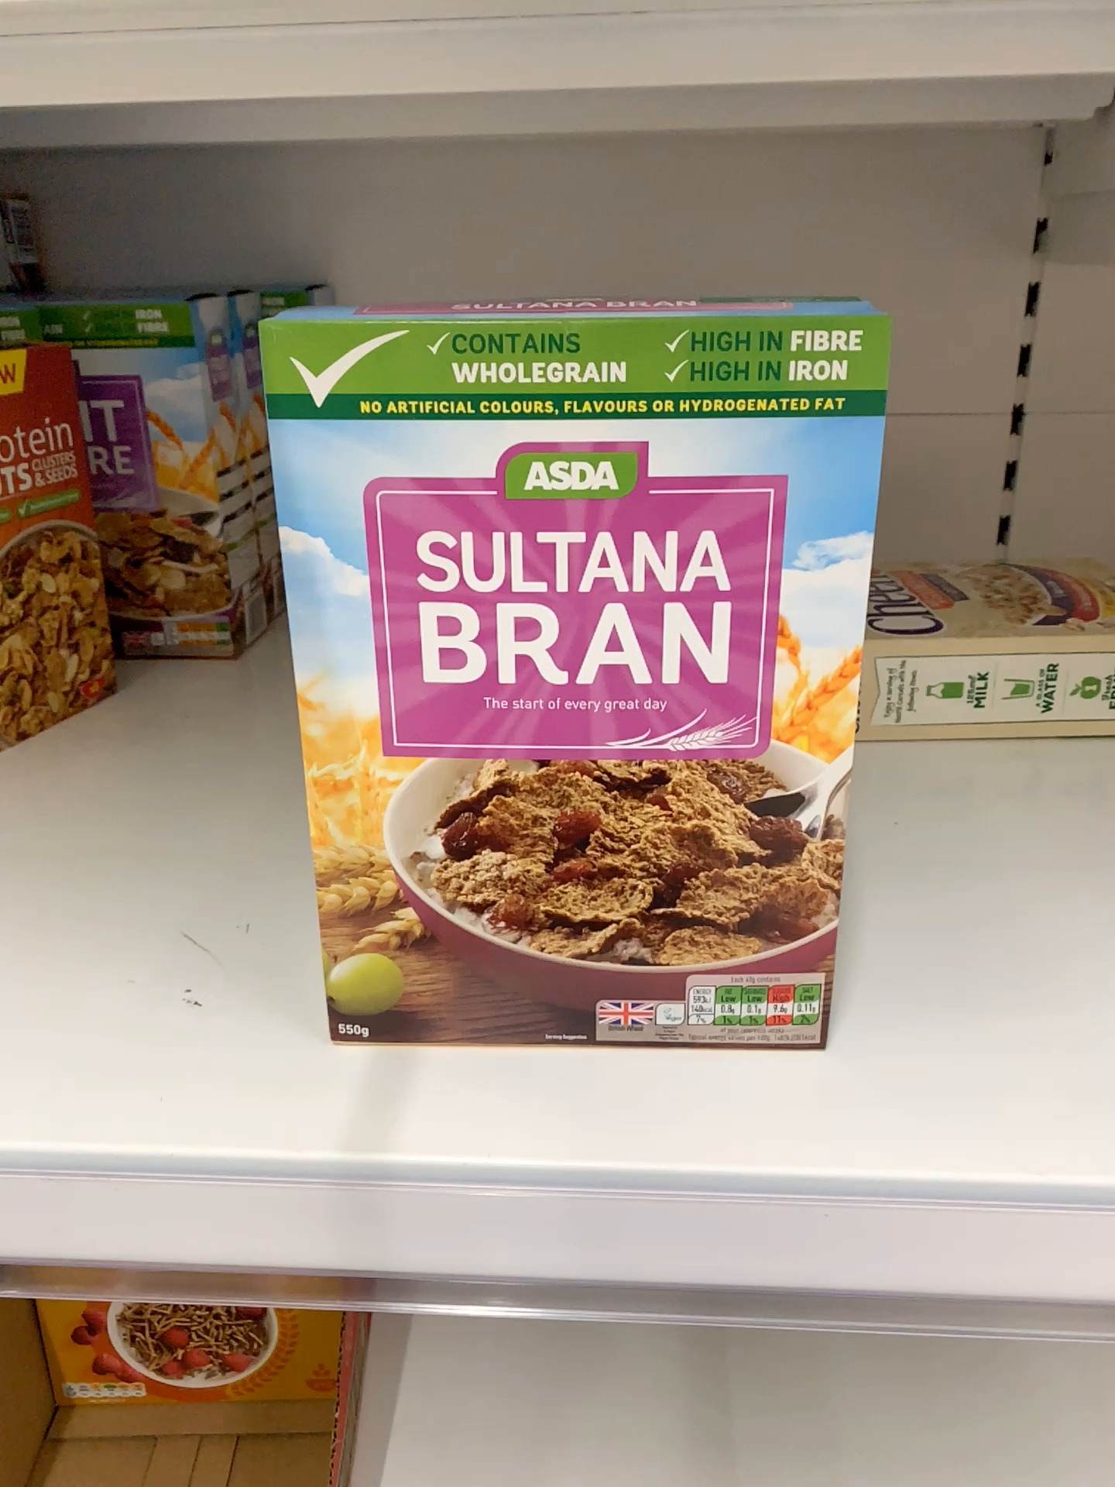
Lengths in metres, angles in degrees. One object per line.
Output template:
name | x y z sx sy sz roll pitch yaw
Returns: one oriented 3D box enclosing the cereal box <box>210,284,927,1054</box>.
cereal box | 0.006 -0.021 0.420 0.210 0.268 0.071 0 23 3
